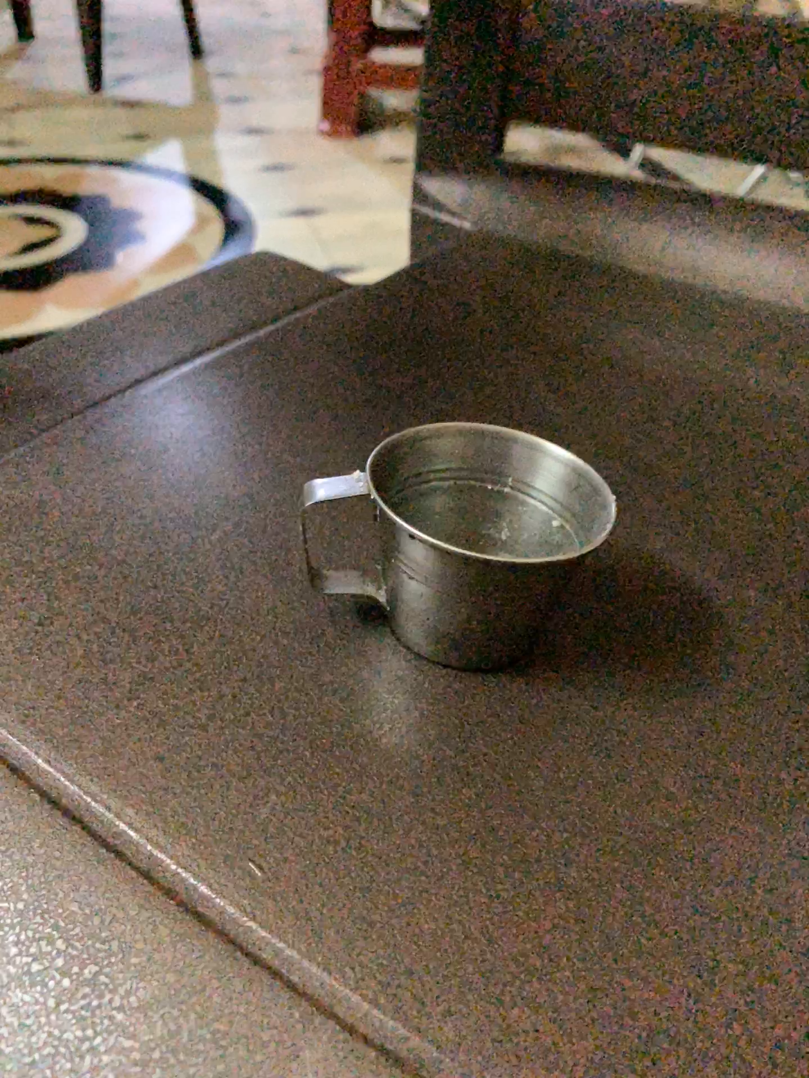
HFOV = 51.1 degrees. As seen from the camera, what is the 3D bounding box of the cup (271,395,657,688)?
[{"bbox_3d":[0.008,-0.001,0.207,0.080,0.040,0.060,0,41,-8],"label":"cup"}]
